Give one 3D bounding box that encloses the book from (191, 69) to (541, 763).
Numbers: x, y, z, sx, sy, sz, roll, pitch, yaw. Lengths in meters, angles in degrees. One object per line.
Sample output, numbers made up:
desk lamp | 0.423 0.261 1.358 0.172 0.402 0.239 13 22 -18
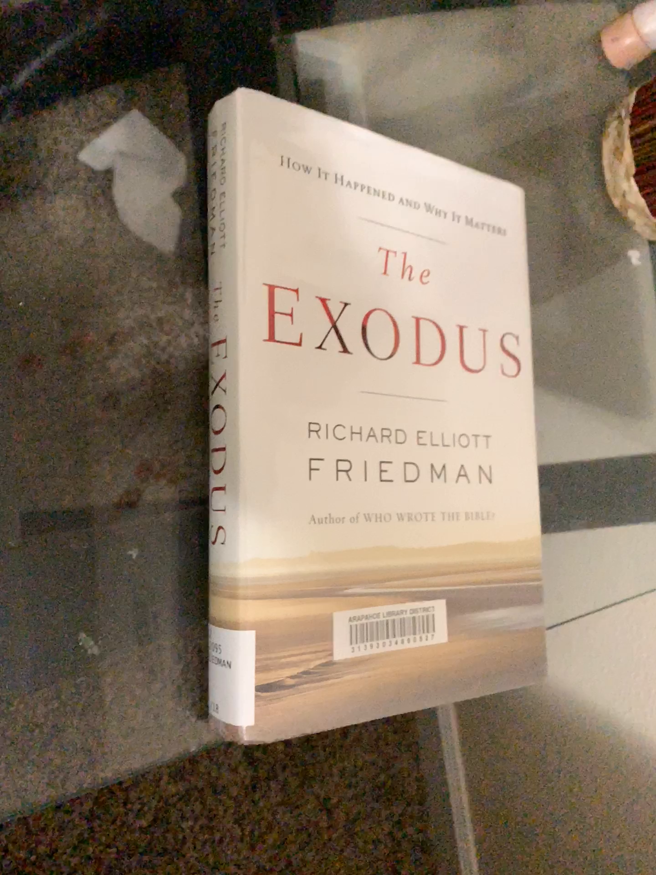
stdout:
book | 0.026 -0.007 0.286 0.161 0.030 0.231 2 87 -36
